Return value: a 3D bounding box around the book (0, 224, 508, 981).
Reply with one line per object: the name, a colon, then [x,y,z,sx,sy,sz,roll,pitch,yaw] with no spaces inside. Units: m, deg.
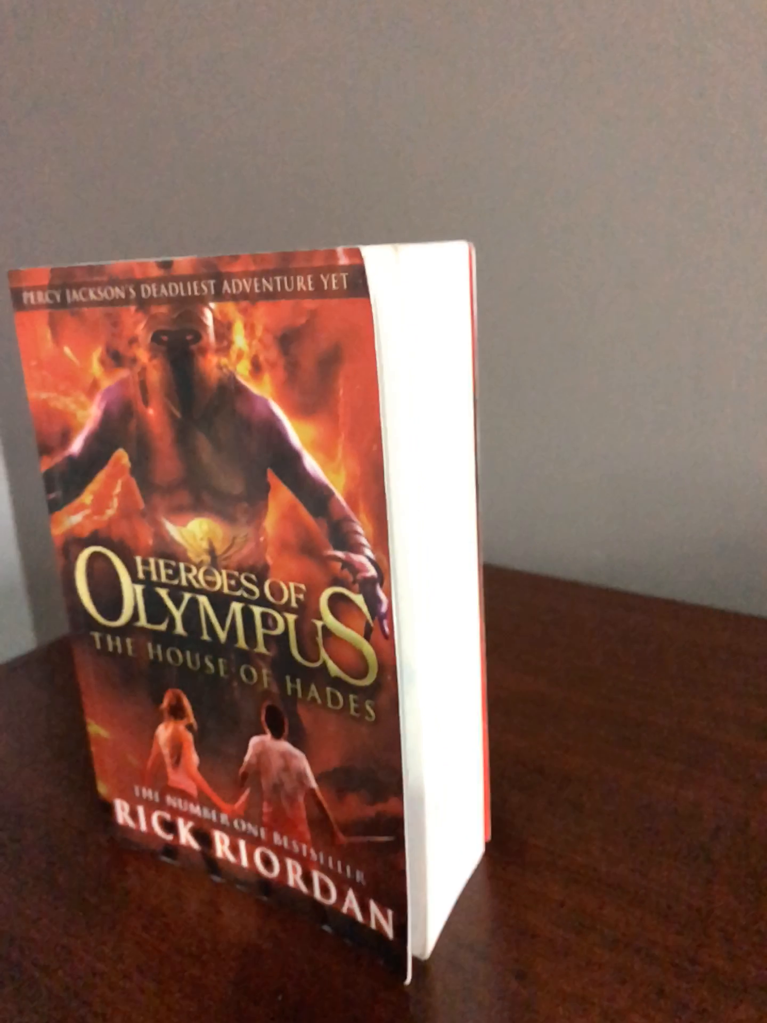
book: [-0.040,0.020,0.270,0.140,0.199,0.060,6,19,29]
